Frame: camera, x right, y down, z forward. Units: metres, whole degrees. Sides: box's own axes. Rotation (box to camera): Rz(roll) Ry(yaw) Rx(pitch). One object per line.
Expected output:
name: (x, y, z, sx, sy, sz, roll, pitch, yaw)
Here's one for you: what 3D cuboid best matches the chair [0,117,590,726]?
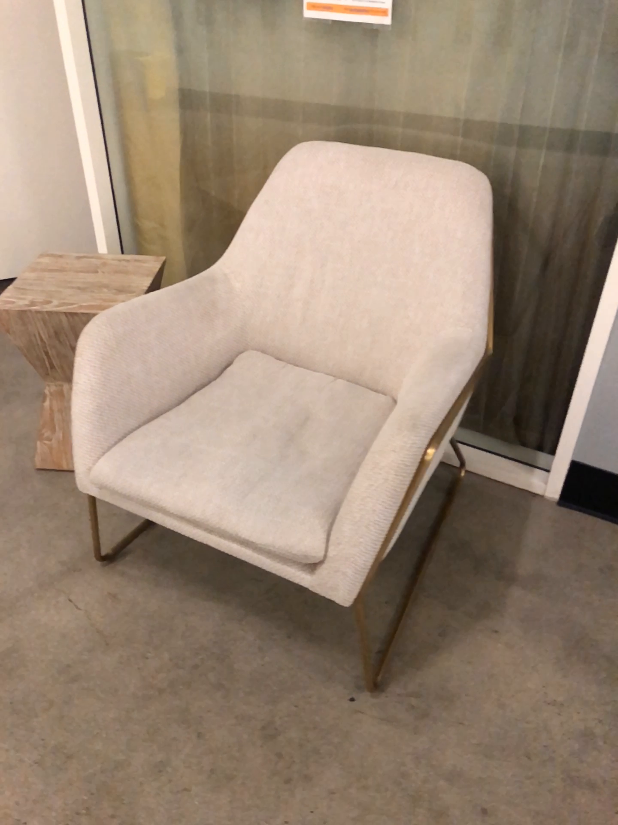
chair: (0.014, -0.093, 1.527, 0.831, 0.816, 0.893, 18, 38, 23)
